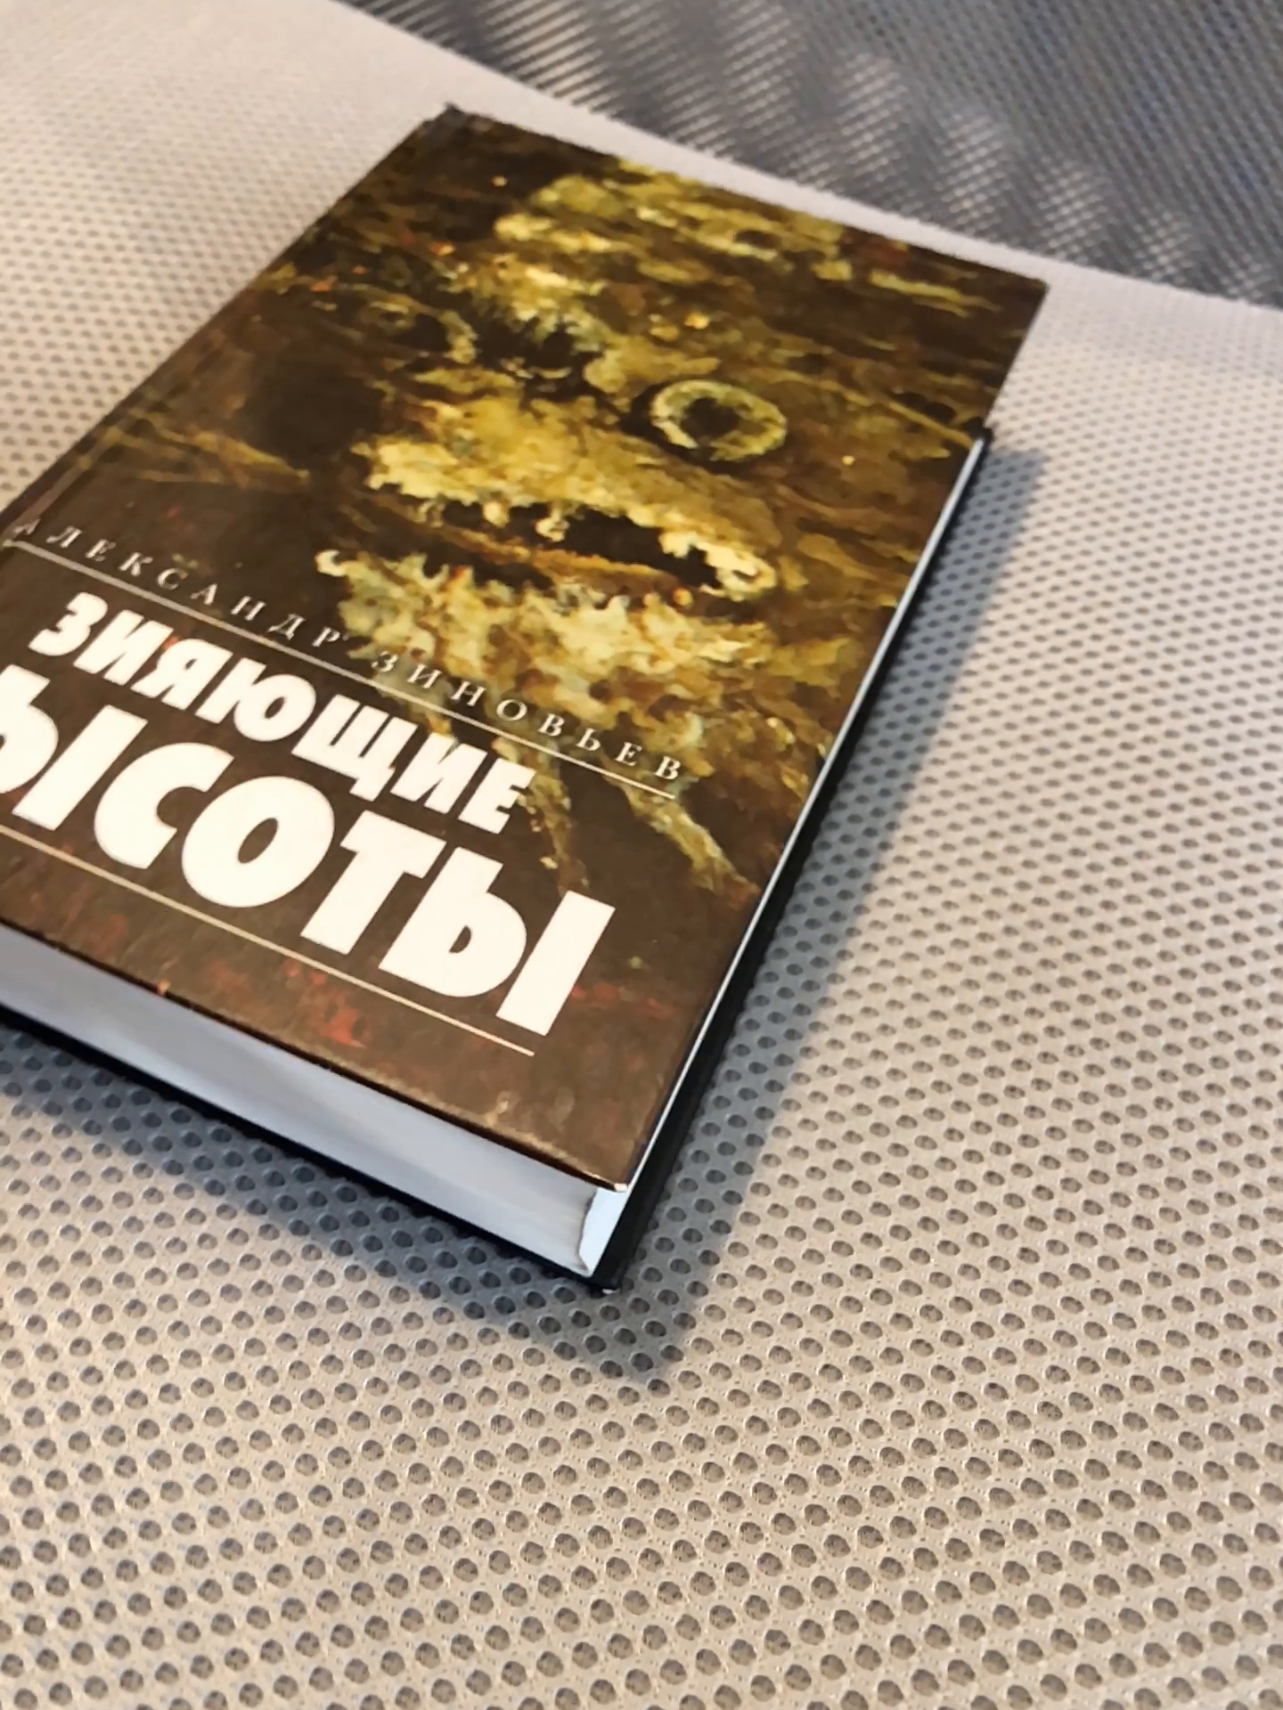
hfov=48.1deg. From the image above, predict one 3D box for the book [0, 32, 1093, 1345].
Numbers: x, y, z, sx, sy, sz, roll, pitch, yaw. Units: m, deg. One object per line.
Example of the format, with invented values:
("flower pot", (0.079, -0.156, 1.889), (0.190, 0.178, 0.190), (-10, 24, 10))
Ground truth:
("book", (-0.025, -0.045, 0.231), (0.140, 0.040, 0.191), (22, 61, 9))
